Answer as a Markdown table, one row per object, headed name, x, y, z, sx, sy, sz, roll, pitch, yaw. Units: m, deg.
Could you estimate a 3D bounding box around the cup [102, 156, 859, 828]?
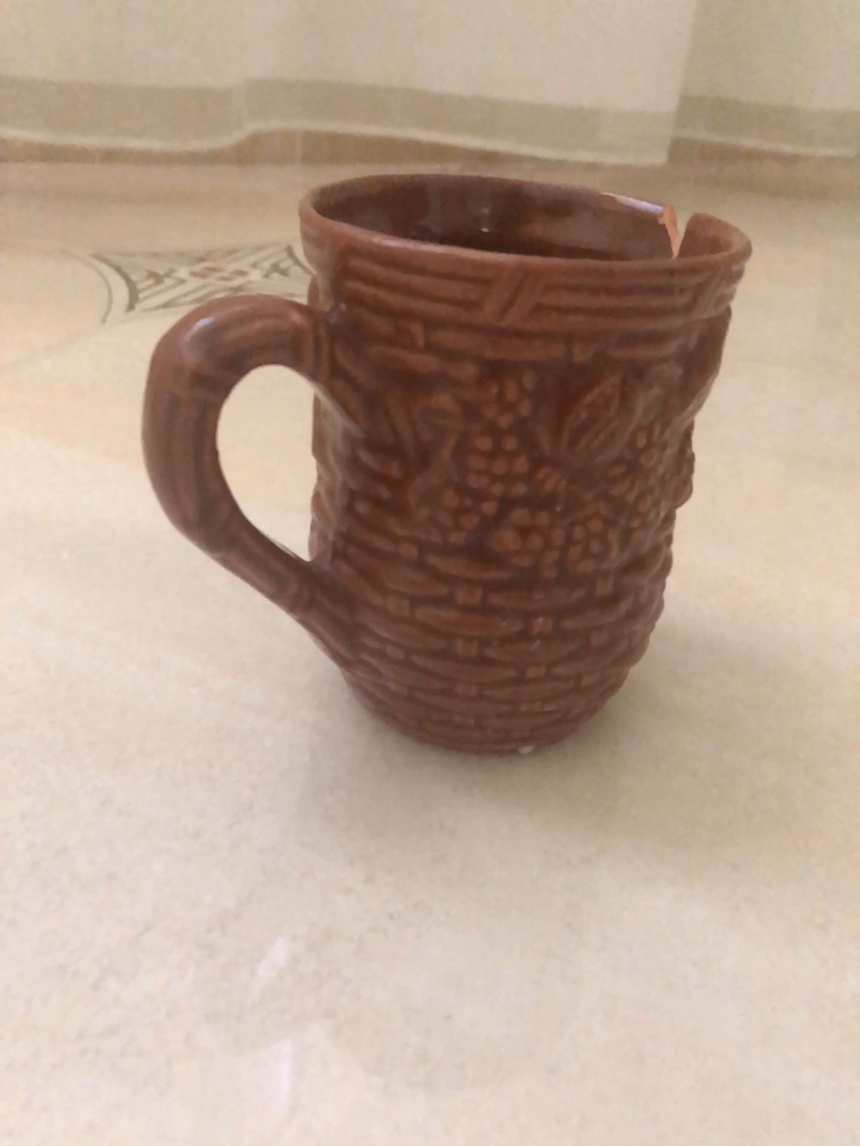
| name | x | y | z | sx | sy | sz | roll | pitch | yaw |
| --- | --- | --- | --- | --- | --- | --- | --- | --- | --- |
| cup | 0.005 | -0.022 | 0.167 | 0.104 | 0.081 | 0.073 | -7 | 33 | -19 |
